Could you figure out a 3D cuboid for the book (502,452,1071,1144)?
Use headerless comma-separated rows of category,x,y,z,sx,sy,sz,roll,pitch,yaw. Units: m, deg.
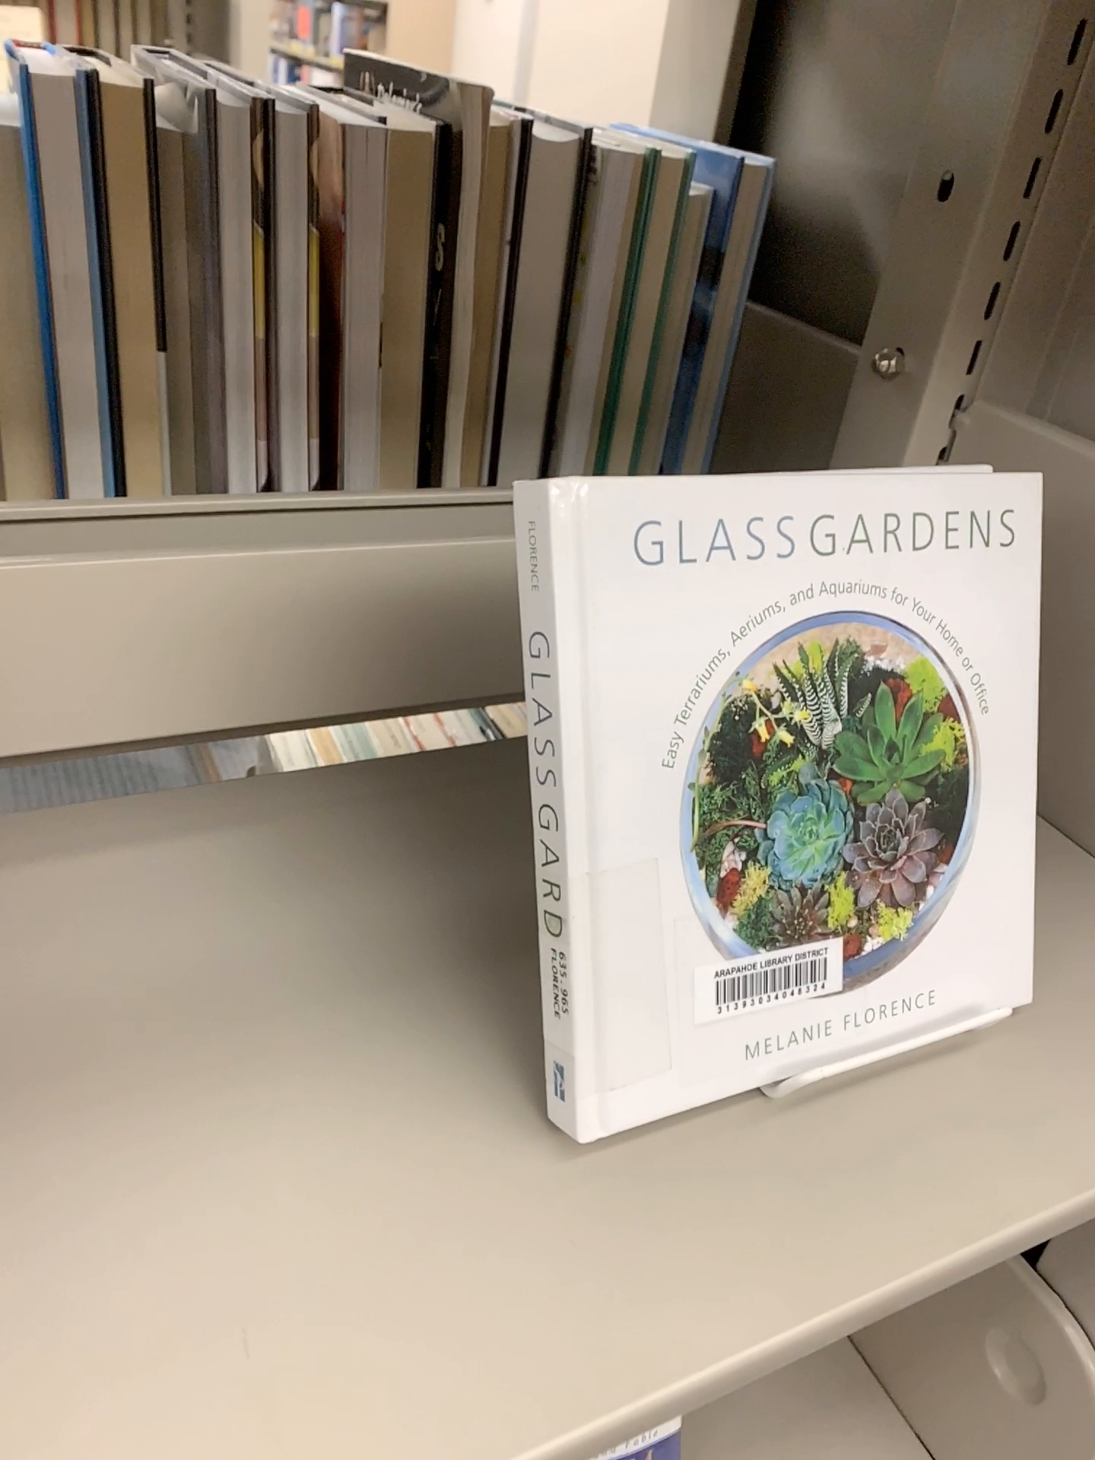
book,0.079,0.009,0.335,0.180,0.174,0.030,-8,11,-27
